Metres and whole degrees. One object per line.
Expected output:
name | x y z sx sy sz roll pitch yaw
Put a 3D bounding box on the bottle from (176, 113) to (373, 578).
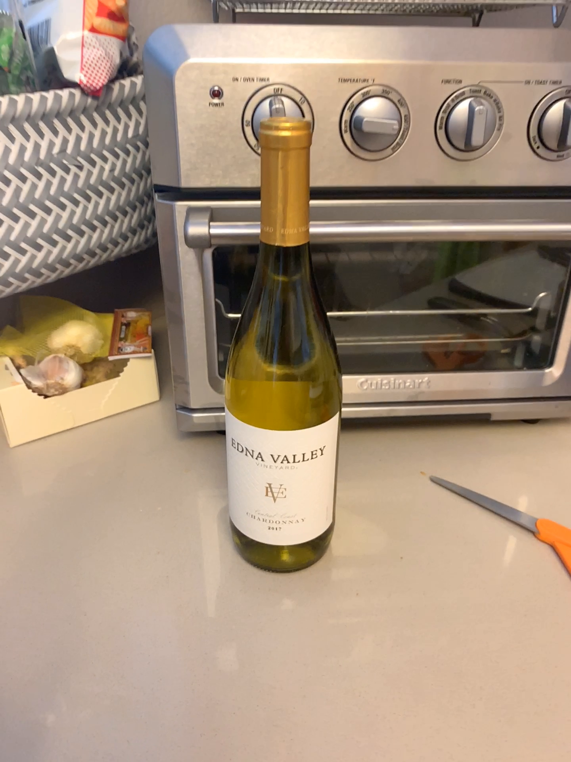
bottle | -0.003 -0.013 0.376 0.090 0.278 0.091 0 29 0
